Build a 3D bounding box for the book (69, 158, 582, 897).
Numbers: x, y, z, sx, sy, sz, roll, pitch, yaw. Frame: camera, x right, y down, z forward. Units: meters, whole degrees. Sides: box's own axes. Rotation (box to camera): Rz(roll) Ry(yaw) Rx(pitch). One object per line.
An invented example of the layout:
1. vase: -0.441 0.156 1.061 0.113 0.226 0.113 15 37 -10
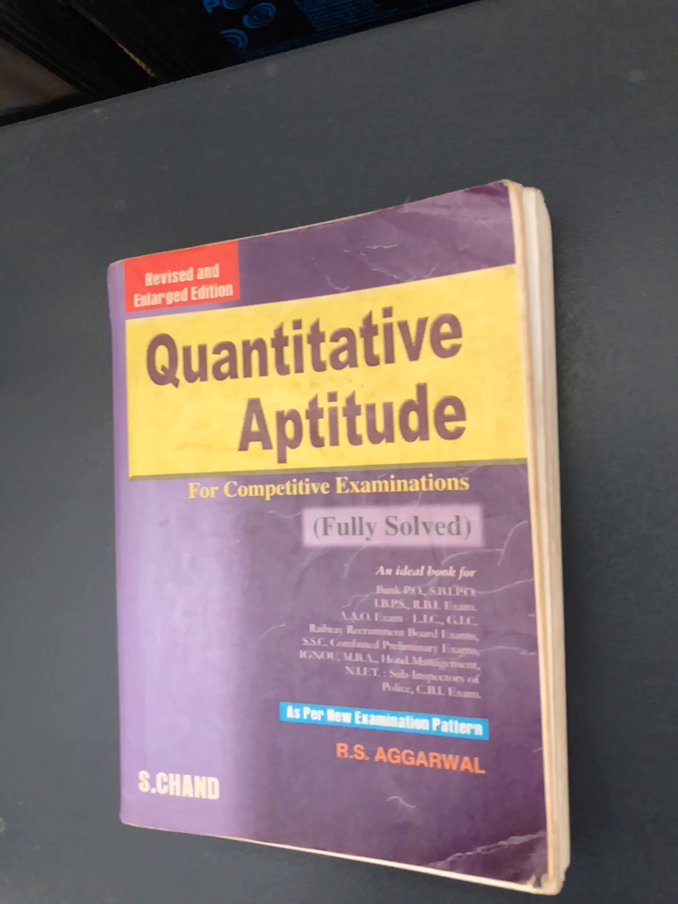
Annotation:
1. book: -0.010 0.024 0.279 0.180 0.050 0.220 -3 87 21
